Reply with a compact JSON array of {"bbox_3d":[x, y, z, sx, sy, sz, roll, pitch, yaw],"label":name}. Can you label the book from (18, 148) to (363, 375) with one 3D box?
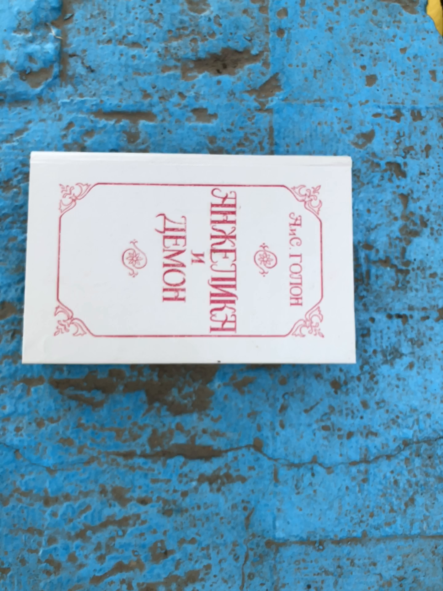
[{"bbox_3d":[-0.017,-0.020,0.328,0.211,0.033,0.140,1,84,-2],"label":"book"}]
